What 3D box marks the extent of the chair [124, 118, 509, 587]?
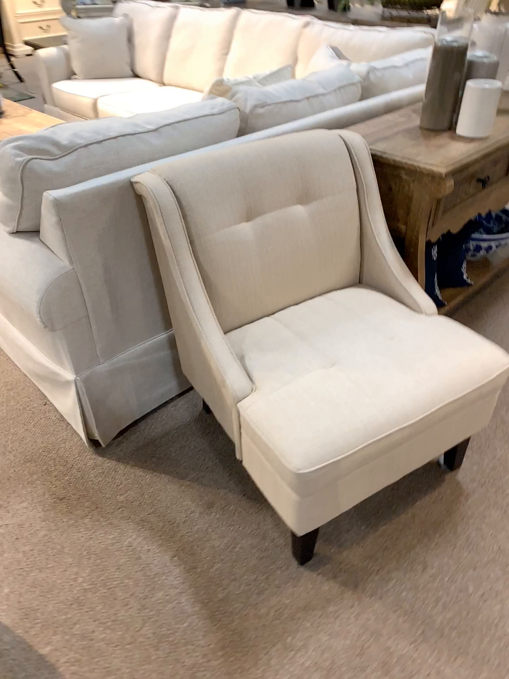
[{"bbox_3d":[0.186,-0.037,1.405,0.714,0.800,0.774,-21,42,-24],"label":"chair"}]
